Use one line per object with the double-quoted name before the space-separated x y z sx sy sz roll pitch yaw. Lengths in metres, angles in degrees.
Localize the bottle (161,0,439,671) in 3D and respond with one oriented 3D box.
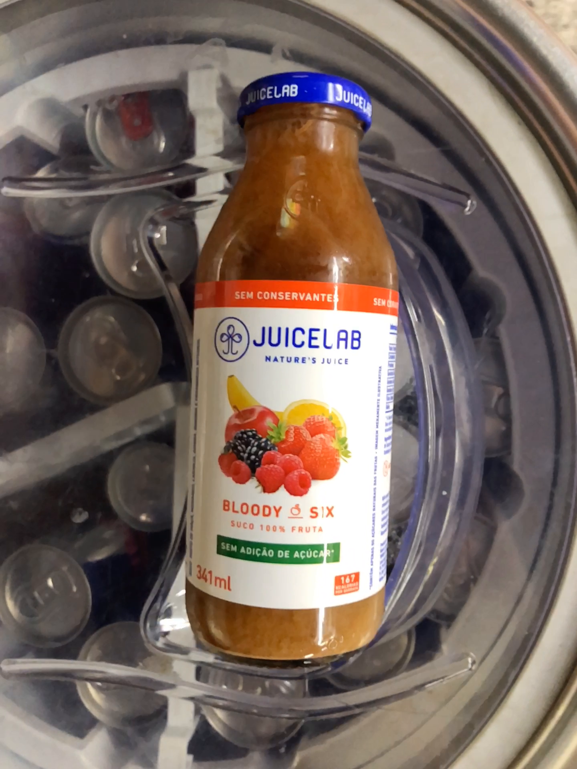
"bottle" 0.002 -0.017 0.208 0.070 0.060 0.190 2 91 -2
